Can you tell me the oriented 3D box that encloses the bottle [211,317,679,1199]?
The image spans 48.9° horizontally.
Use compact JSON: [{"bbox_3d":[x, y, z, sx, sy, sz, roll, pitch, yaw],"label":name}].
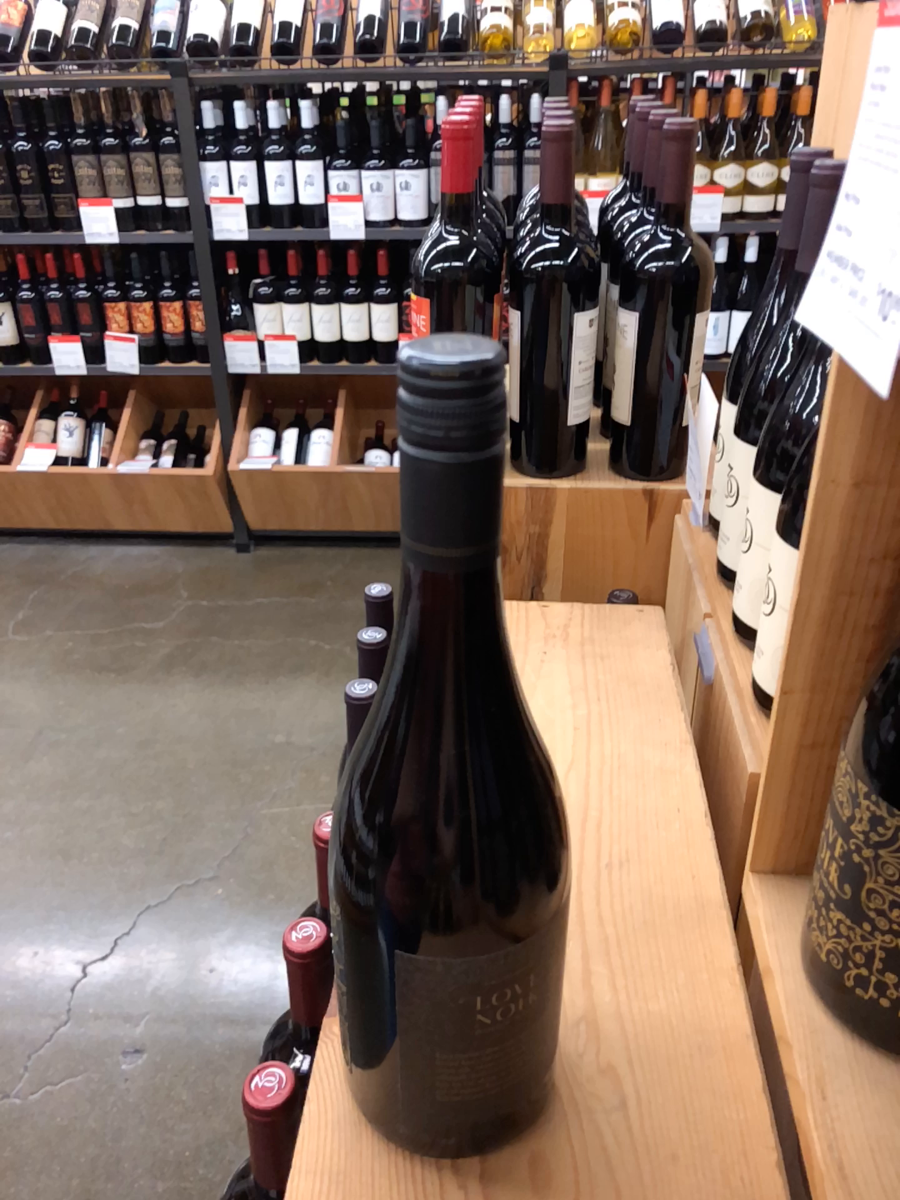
[{"bbox_3d":[0.001,0.064,0.330,0.090,0.285,0.086,-1,29,0],"label":"bottle"}]
